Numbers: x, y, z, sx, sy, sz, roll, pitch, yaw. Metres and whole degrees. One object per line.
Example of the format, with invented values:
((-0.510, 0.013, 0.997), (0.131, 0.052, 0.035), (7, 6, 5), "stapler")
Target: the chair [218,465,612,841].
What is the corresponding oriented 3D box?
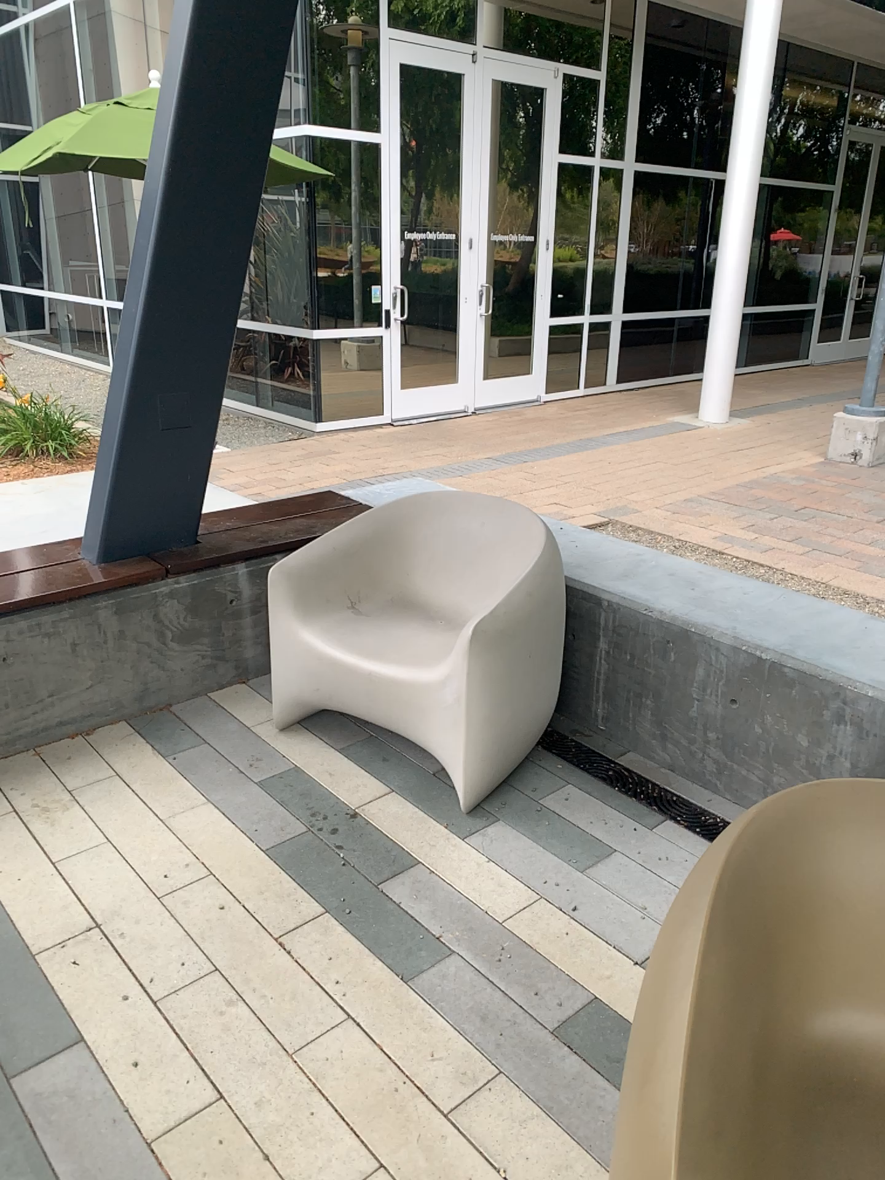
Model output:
((-0.087, 0.132, 3.199), (0.983, 0.786, 0.923), (18, 28, 29), "chair")
